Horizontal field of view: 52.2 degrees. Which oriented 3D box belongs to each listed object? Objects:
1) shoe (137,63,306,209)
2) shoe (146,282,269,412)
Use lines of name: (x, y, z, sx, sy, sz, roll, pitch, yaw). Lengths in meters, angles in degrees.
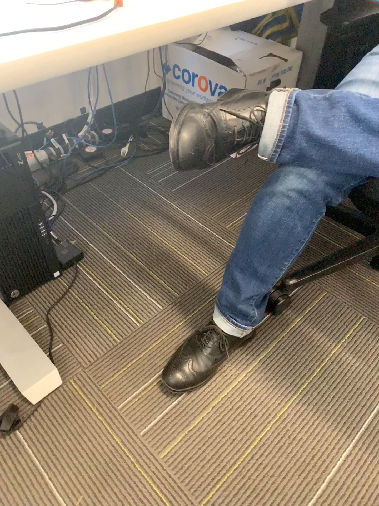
shoe: (0.058, -0.195, 0.612, 0.274, 0.111, 0.091, -35, 53, -30)
shoe: (0.045, 0.205, 0.883, 0.274, 0.104, 0.112, -35, 57, -30)
